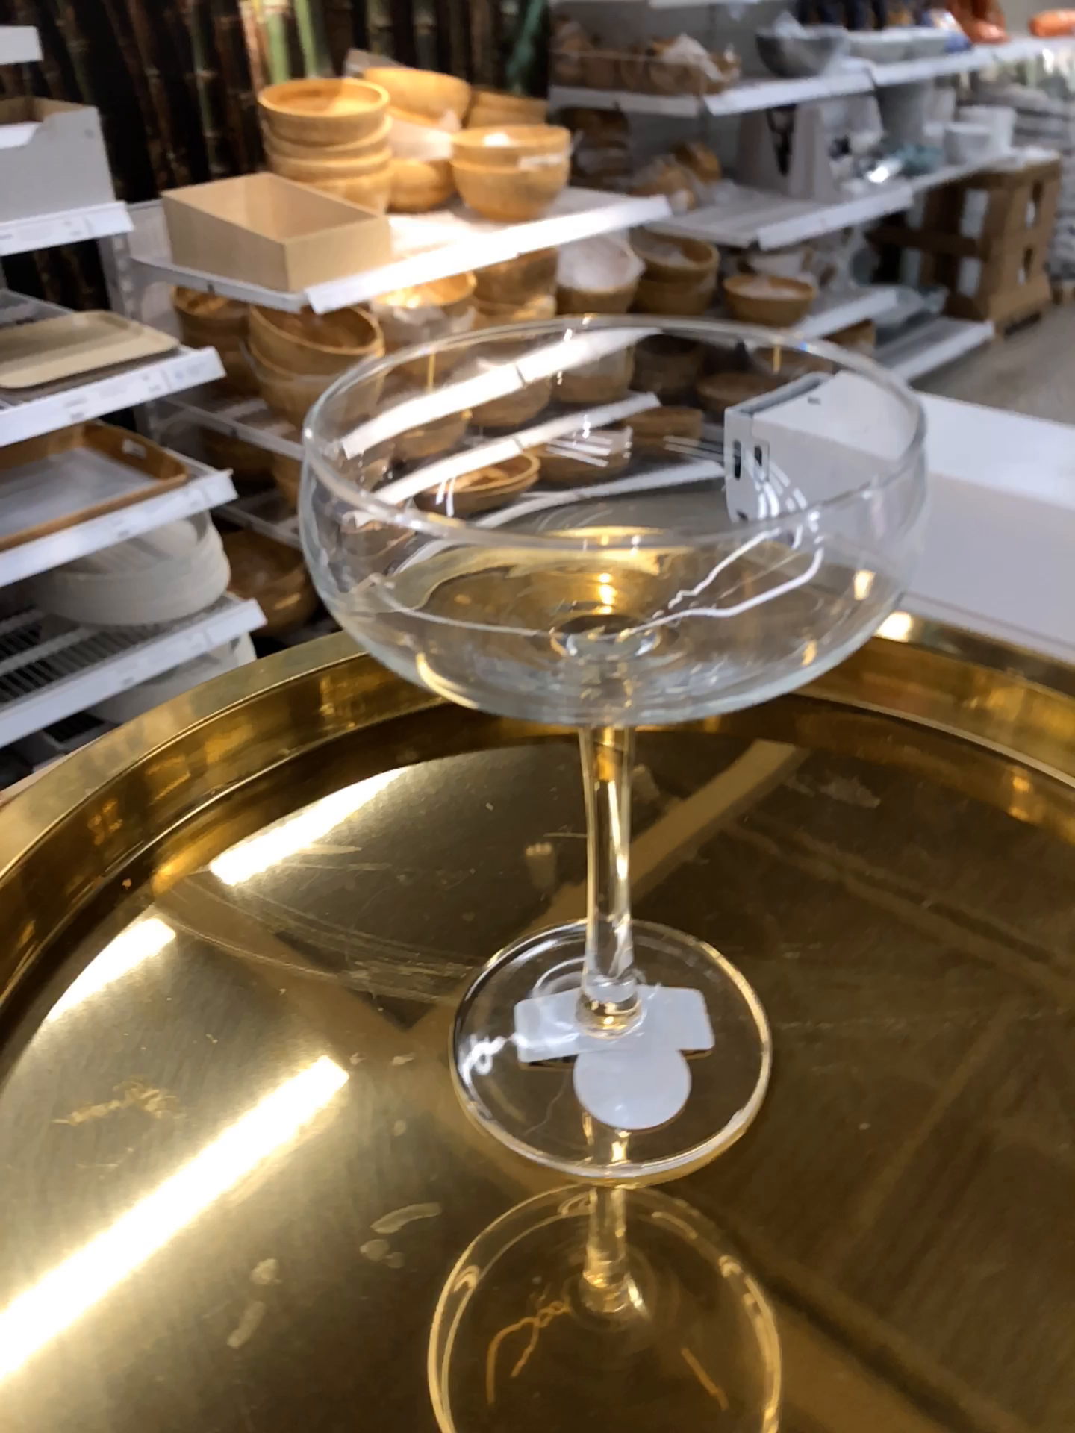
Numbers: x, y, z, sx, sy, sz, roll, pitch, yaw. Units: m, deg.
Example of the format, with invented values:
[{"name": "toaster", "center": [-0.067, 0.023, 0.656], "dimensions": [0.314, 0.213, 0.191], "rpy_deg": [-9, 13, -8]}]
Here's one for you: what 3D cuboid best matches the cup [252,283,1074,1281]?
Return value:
[{"name": "cup", "center": [0.014, 0.005, 0.233], "dimensions": [0.110, 0.139, 0.110], "rpy_deg": [-1, 32, 1]}]
